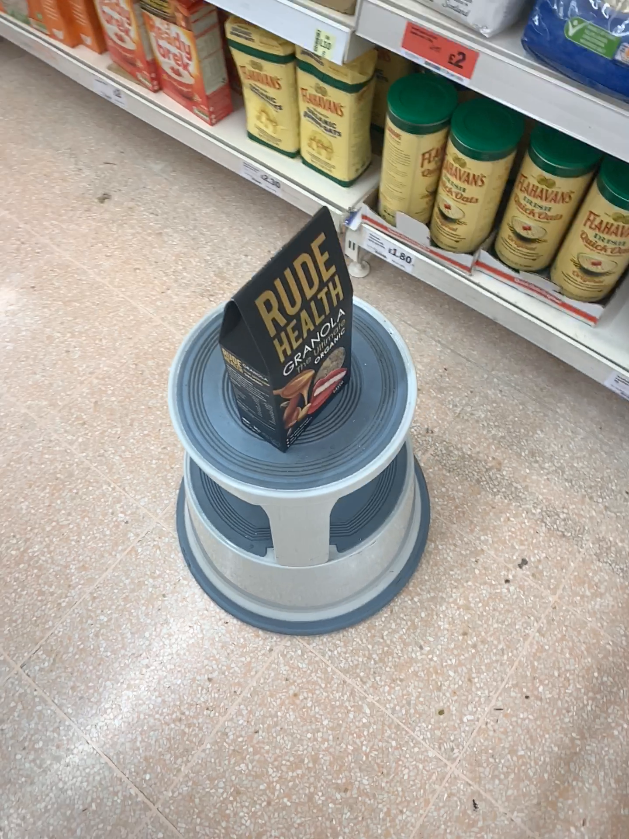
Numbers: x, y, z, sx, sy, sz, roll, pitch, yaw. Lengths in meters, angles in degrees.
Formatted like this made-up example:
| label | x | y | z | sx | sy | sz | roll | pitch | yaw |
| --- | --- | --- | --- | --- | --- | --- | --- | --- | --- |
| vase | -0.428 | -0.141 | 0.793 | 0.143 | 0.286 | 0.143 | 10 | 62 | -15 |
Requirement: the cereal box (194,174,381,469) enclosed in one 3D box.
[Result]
| label | x | y | z | sx | sy | sz | roll | pitch | yaw |
| --- | --- | --- | --- | --- | --- | --- | --- | --- | --- |
| cereal box | -0.018 | -0.074 | 0.606 | 0.070 | 0.259 | 0.140 | 35 | 68 | 16 |
